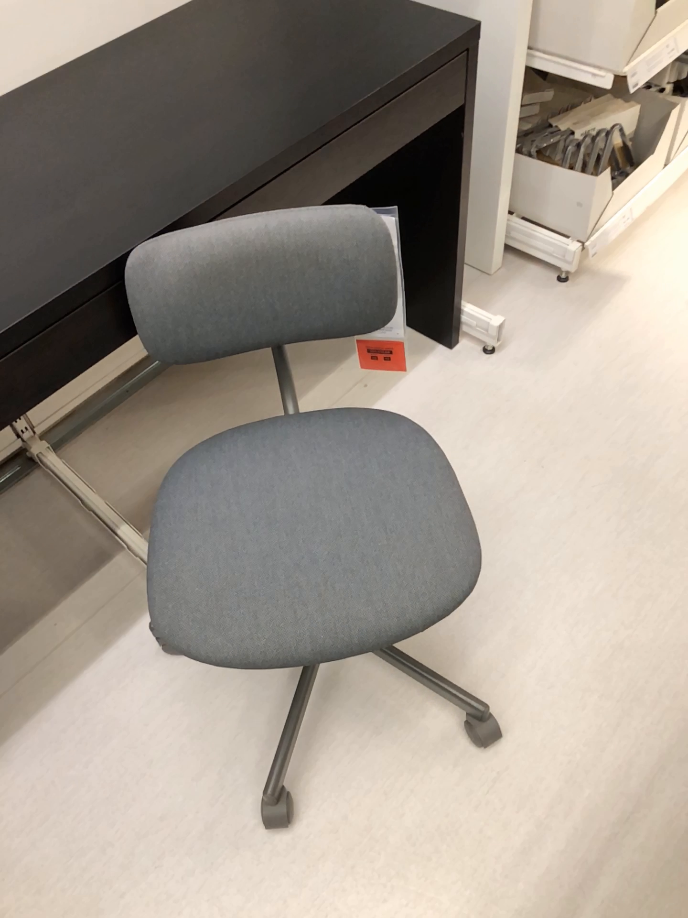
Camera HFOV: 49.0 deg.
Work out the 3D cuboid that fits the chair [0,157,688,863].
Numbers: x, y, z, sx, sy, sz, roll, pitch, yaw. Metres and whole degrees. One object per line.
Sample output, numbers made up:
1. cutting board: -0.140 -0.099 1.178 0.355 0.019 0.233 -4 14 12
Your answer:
1. chair: -0.050 0.100 1.042 0.620 0.676 0.593 -10 51 -3
